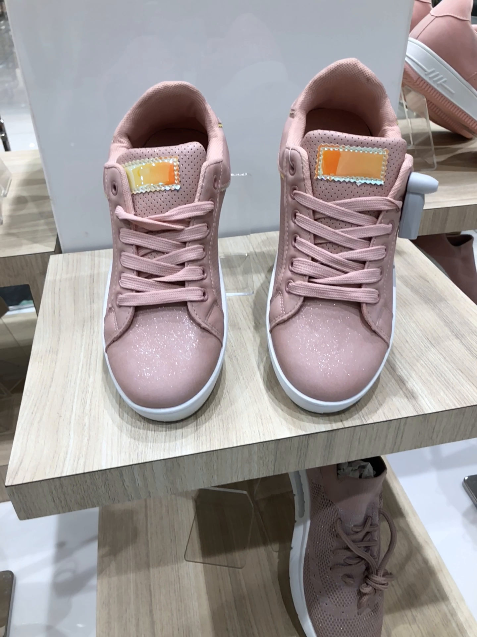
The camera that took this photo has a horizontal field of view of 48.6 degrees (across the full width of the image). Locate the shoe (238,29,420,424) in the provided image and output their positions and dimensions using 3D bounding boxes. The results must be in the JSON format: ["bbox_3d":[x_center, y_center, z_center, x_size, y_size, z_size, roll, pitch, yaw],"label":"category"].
[{"bbox_3d":[0.067,-0.067,0.381,0.099,0.093,0.262,5,72,5],"label":"shoe"}]

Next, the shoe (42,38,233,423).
[{"bbox_3d":[-0.057,-0.059,0.373,0.103,0.093,0.253,-1,73,1],"label":"shoe"}]
